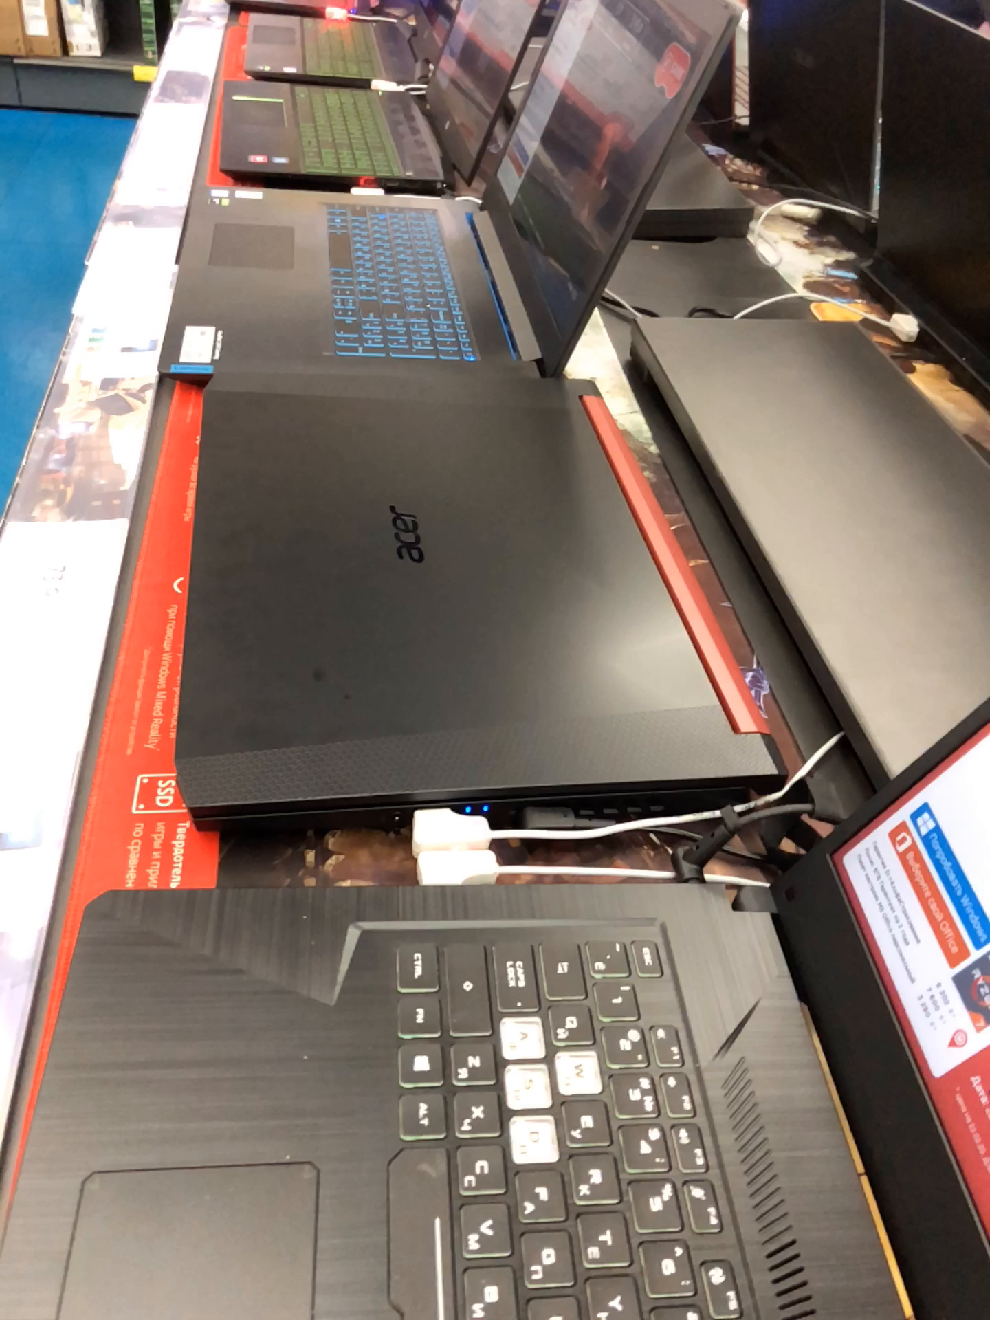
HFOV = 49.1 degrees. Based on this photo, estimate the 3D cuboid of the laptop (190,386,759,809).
[{"bbox_3d":[-0.030,-0.065,0.616,0.255,0.002,0.372,-1,42,-10],"label":"laptop"}]
